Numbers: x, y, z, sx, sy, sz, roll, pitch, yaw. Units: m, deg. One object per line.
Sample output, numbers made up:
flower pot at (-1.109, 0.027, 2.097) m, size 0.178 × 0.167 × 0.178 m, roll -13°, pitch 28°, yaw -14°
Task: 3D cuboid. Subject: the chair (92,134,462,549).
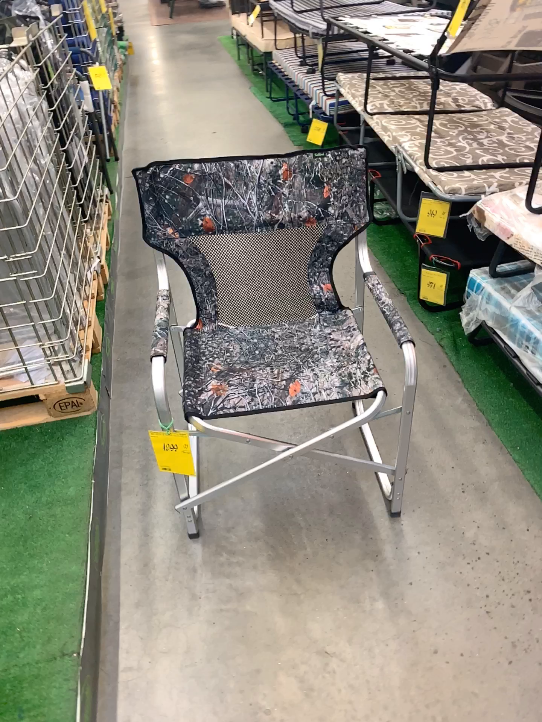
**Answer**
chair at (0.016, -0.049, 1.461) m, size 0.650 × 0.836 × 0.613 m, roll -6°, pitch 38°, yaw -1°
